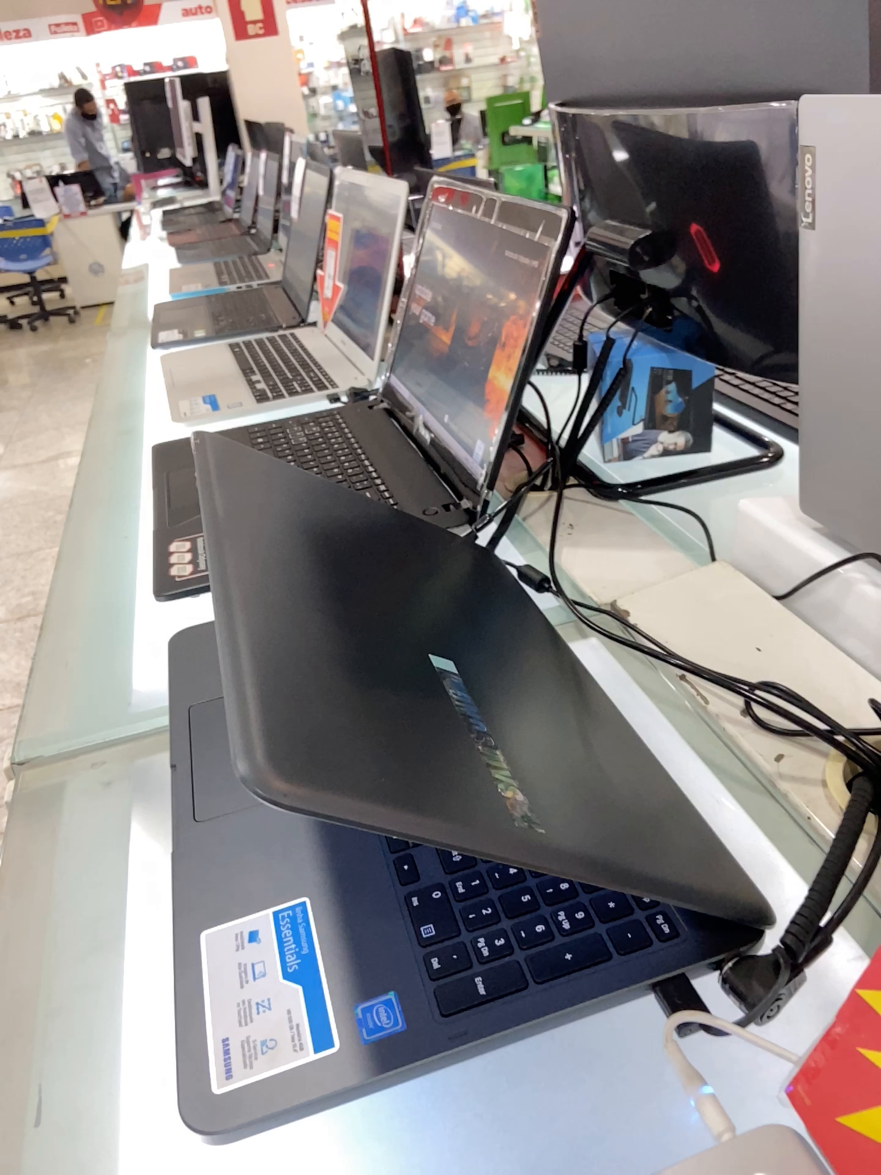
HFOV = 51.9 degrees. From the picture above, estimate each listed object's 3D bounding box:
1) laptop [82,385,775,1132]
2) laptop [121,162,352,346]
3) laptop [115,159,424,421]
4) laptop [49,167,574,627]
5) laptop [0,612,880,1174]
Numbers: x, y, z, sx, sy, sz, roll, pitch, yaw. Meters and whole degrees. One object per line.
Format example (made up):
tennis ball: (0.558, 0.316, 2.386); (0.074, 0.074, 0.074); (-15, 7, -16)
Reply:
laptop: (-0.041, 0.031, 0.481); (0.235, 0.139, 0.369); (-15, 30, -11)
laptop: (-0.371, -0.607, 1.618); (0.335, 0.201, 0.304); (-15, 32, -11)
laptop: (-0.259, -0.450, 1.325); (0.342, 0.246, 0.331); (-14, 32, -11)
laptop: (-0.115, -0.222, 0.848); (0.371, 0.223, 0.396); (-16, 31, -13)
laptop: (0.109, 0.186, 0.120); (0.296, 0.177, 0.317); (-15, 29, -11)
